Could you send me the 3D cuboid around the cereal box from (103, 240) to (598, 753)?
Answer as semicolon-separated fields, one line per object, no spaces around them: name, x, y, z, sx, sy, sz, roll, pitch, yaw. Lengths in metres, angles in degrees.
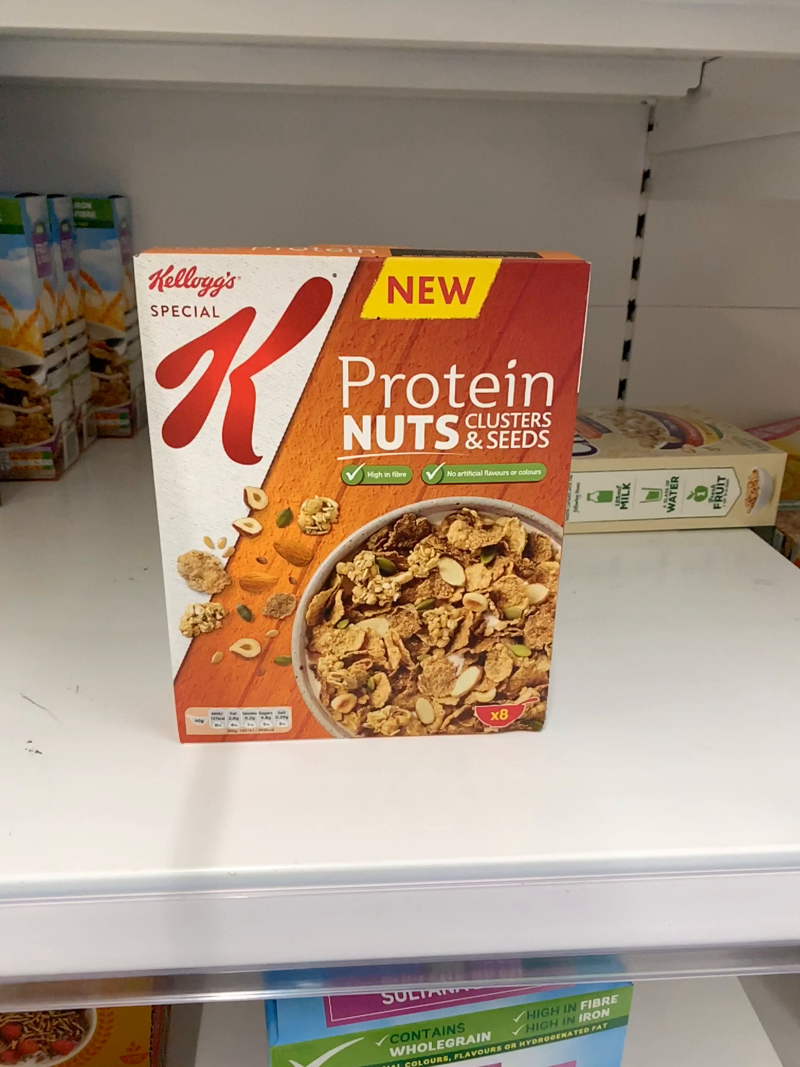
cereal box;-0.023;-0.016;0.409;0.200;0.238;0.071;-1;21;-4
